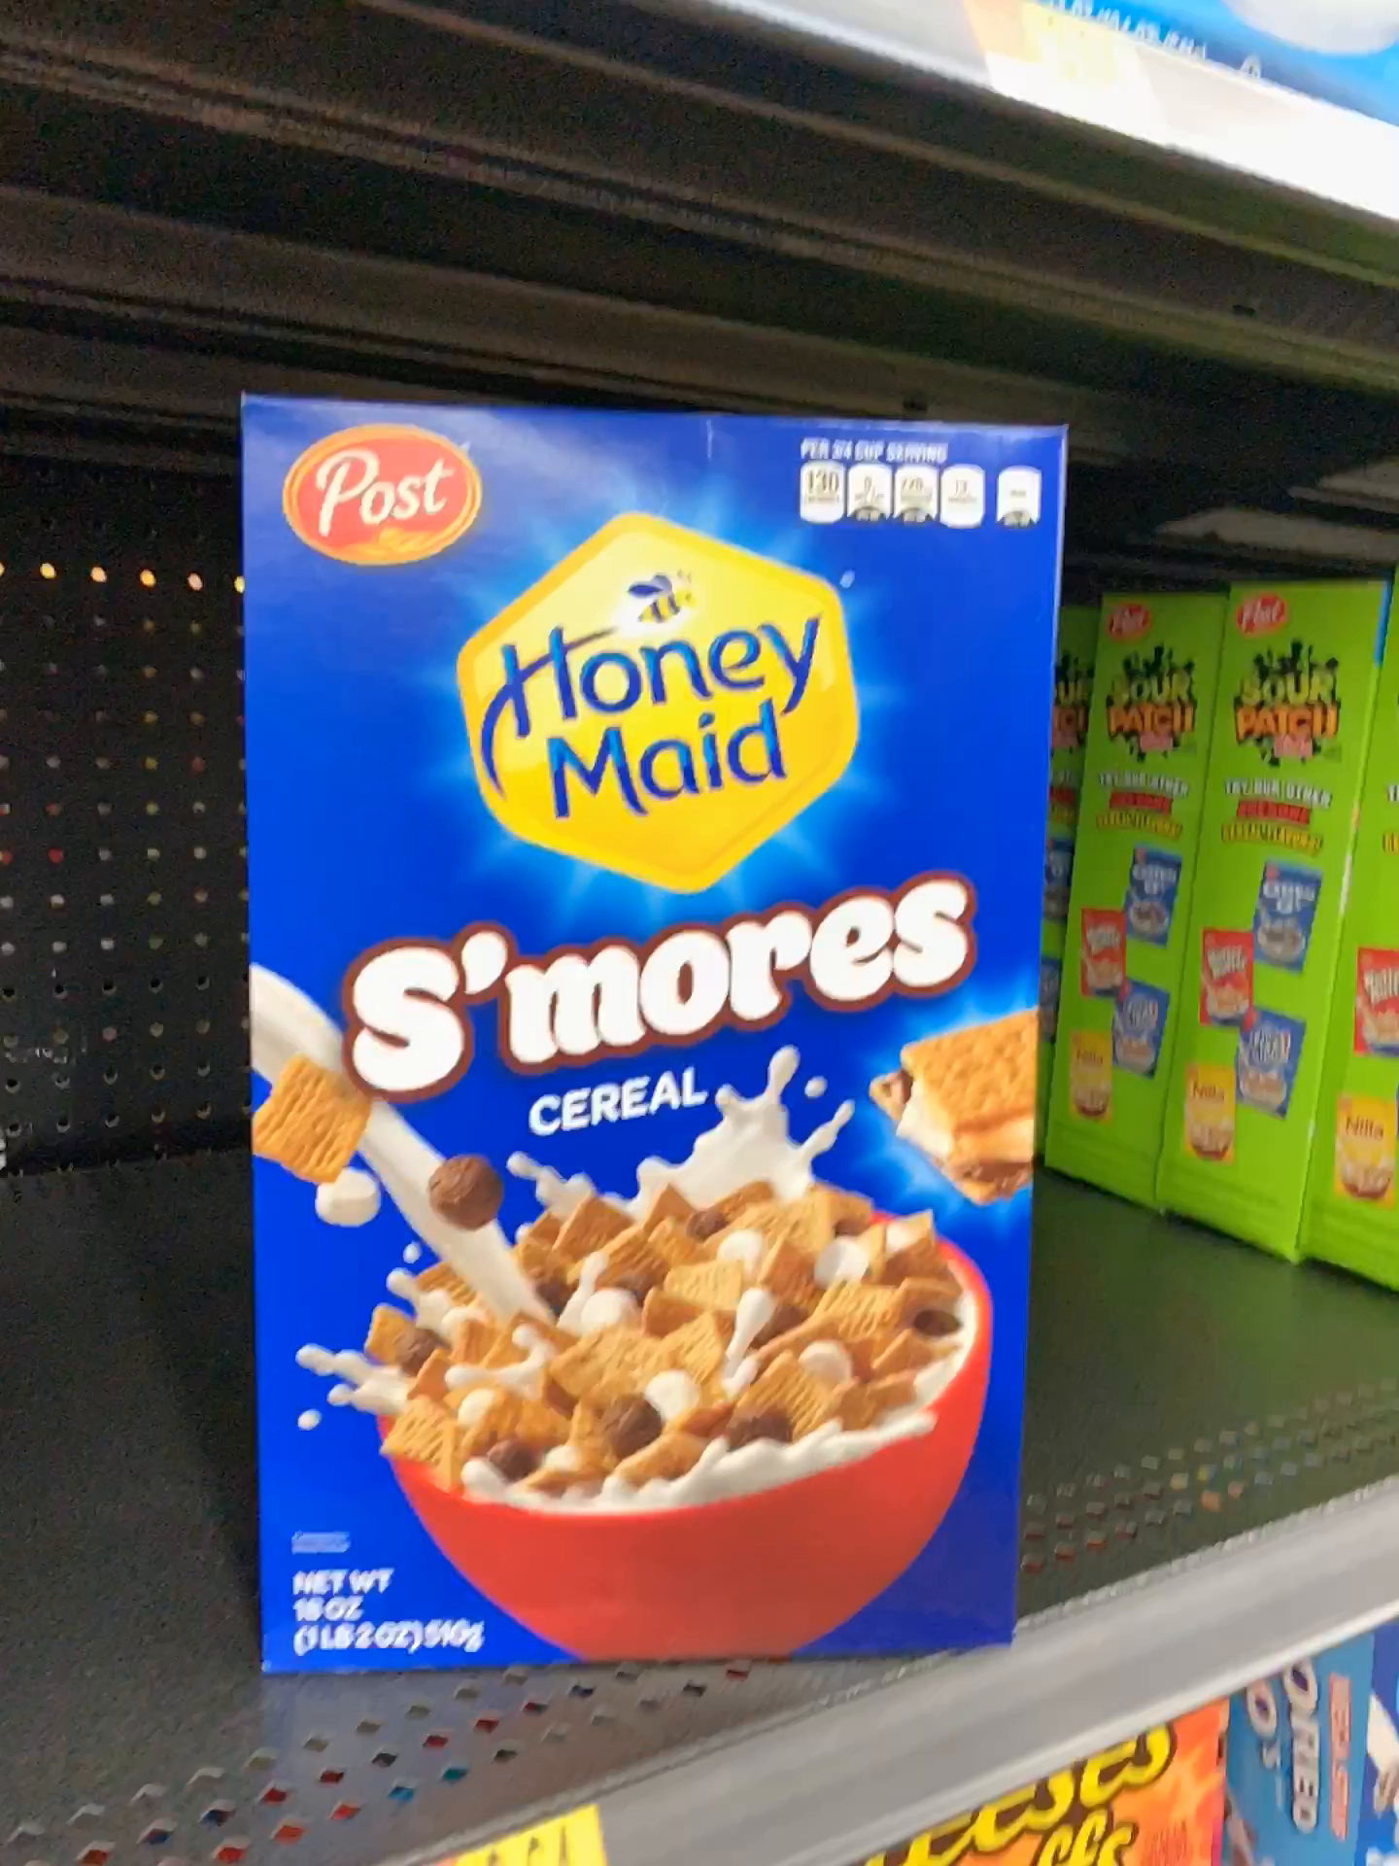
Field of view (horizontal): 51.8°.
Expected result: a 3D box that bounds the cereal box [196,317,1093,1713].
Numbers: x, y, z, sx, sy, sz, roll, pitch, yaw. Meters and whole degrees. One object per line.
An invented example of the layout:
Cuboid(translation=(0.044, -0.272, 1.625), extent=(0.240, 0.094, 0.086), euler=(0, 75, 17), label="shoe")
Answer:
Cuboid(translation=(-0.017, 0.024, 0.372), extent=(0.200, 0.320, 0.070), euler=(1, 6, -6), label="cereal box")
